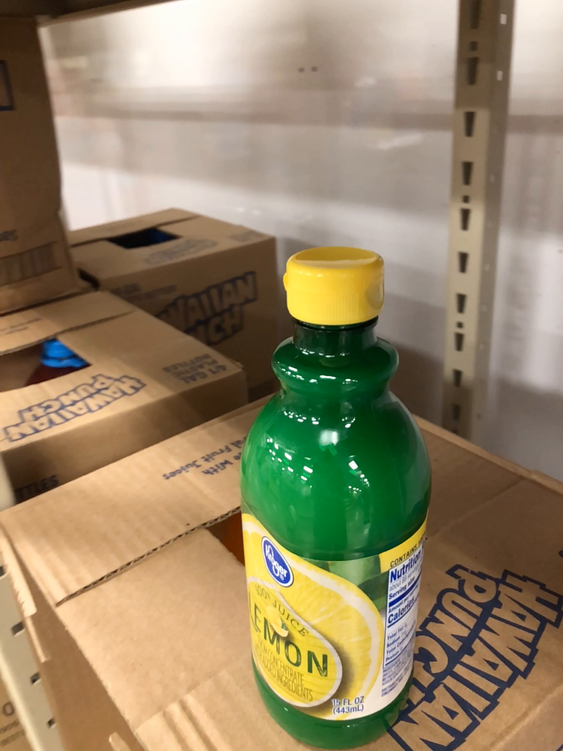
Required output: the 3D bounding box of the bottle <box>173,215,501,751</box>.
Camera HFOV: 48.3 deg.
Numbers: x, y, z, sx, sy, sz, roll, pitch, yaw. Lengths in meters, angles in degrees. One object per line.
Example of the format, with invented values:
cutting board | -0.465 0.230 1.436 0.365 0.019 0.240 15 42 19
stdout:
bottle | 0.021 0.045 0.227 0.070 0.184 0.070 -2 25 1
